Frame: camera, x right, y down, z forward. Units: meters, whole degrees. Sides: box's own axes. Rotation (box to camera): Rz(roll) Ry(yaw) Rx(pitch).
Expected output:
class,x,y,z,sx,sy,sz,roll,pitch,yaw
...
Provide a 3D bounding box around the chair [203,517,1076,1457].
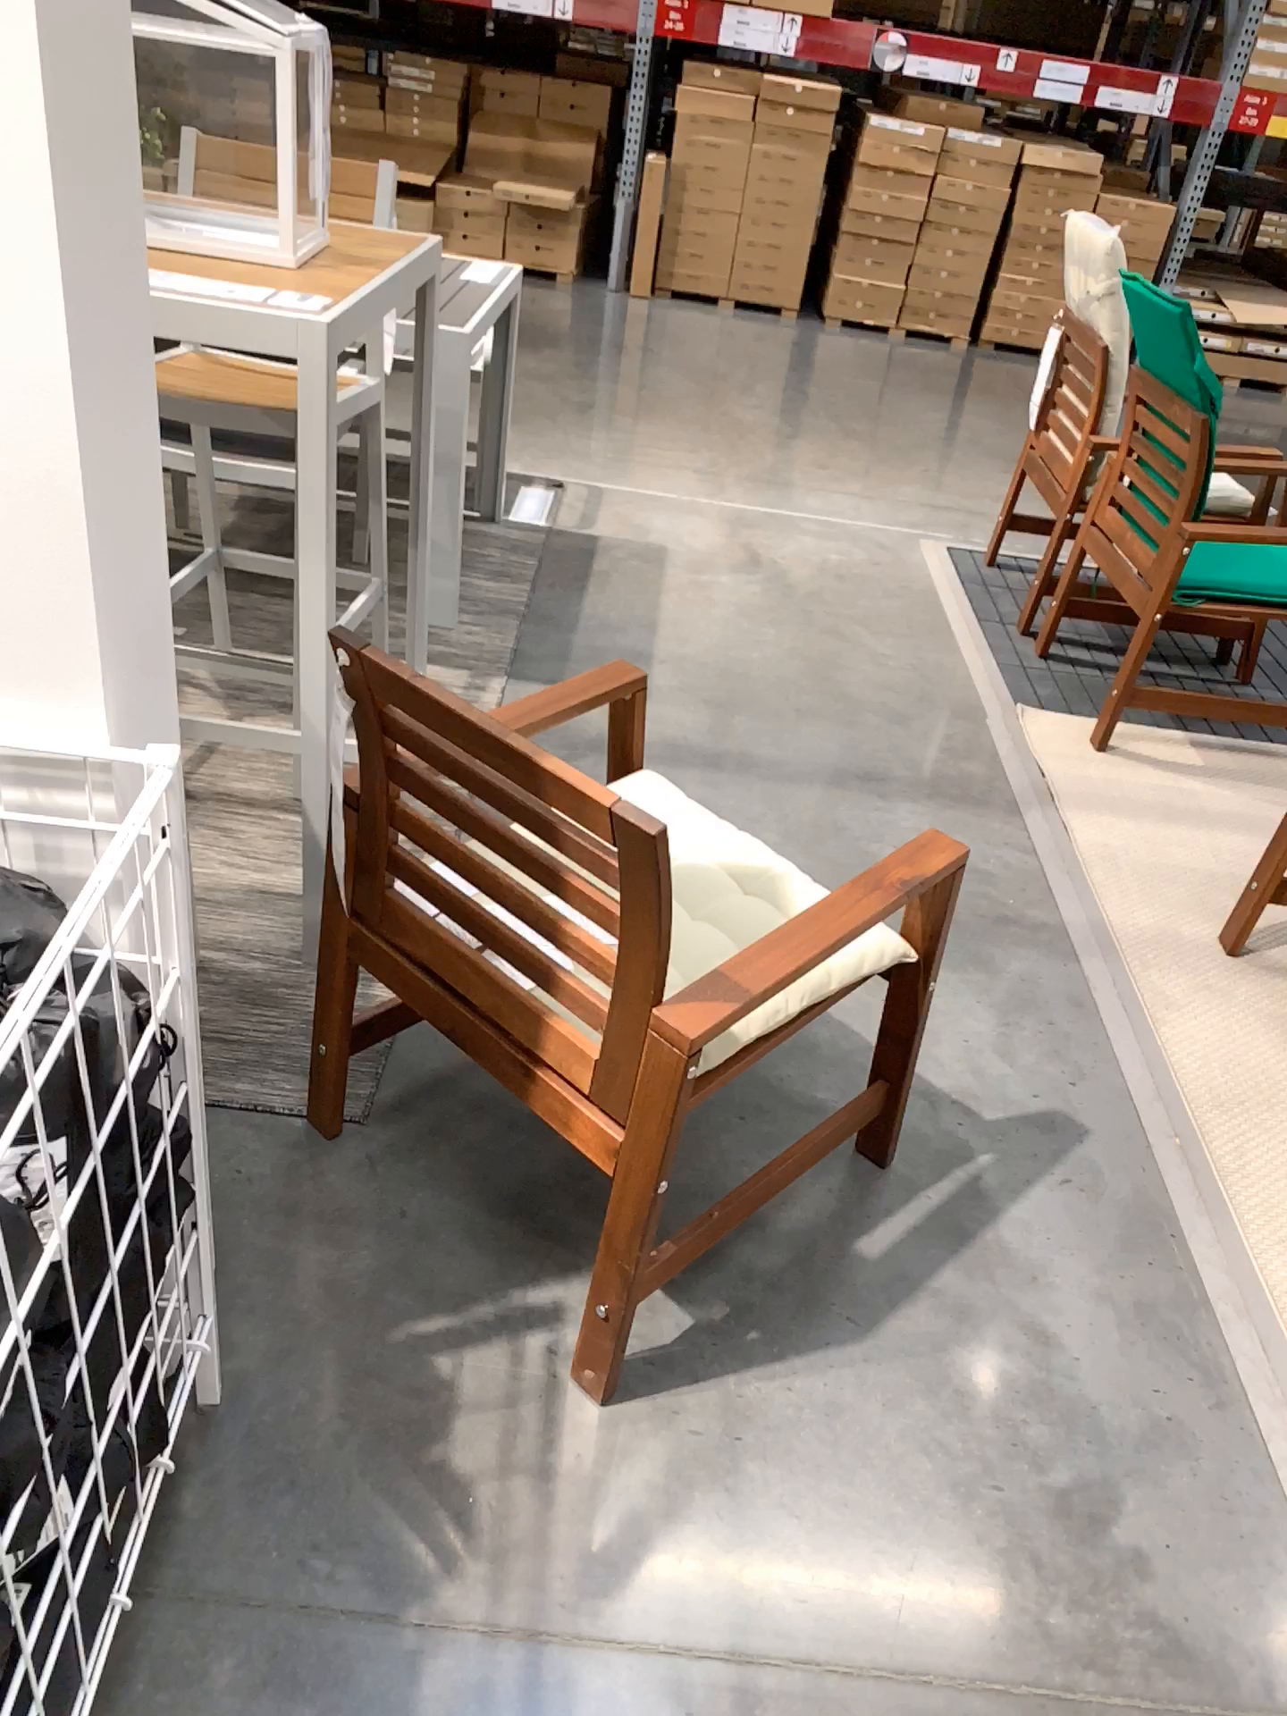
class,x,y,z,sx,sy,sz,roll,pitch,yaw
chair,-0.025,0.082,1.629,0.651,0.706,0.723,31,39,30
